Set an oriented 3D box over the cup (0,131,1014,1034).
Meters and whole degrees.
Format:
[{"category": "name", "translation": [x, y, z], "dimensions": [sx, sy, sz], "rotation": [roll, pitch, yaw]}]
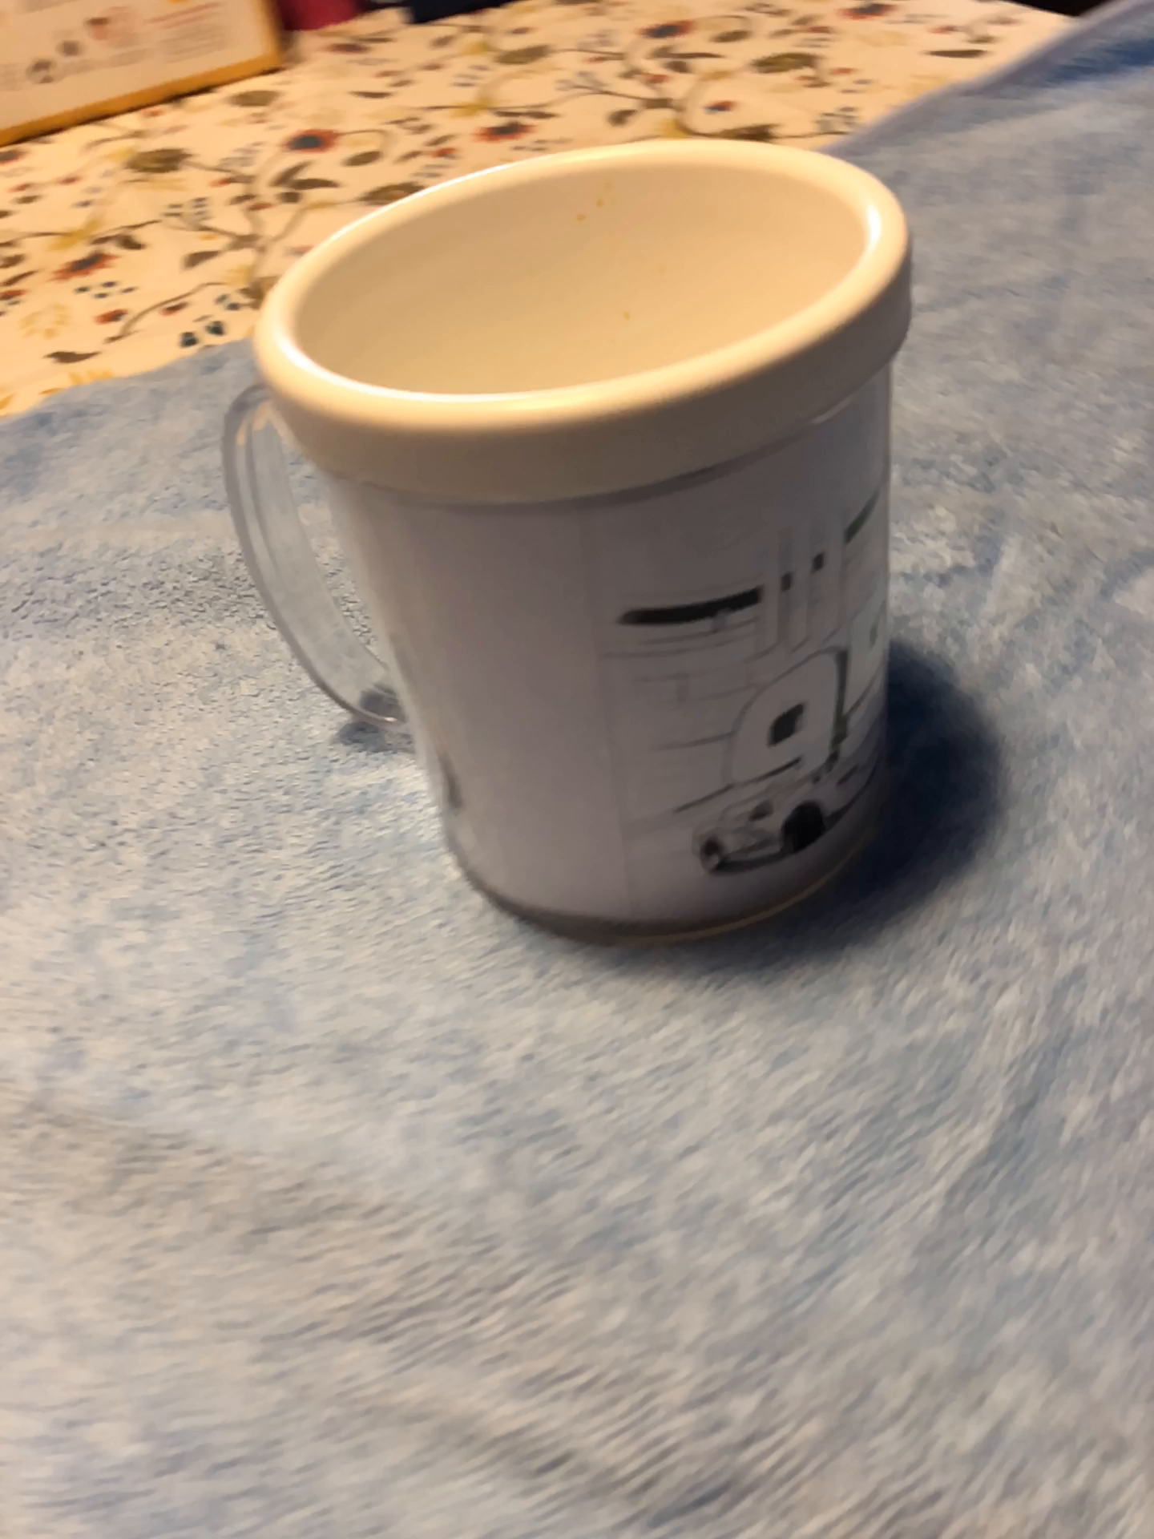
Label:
[{"category": "cup", "translation": [-0.001, -0.036, 0.214], "dimensions": [0.120, 0.099, 0.091], "rotation": [11, 47, 23]}]
